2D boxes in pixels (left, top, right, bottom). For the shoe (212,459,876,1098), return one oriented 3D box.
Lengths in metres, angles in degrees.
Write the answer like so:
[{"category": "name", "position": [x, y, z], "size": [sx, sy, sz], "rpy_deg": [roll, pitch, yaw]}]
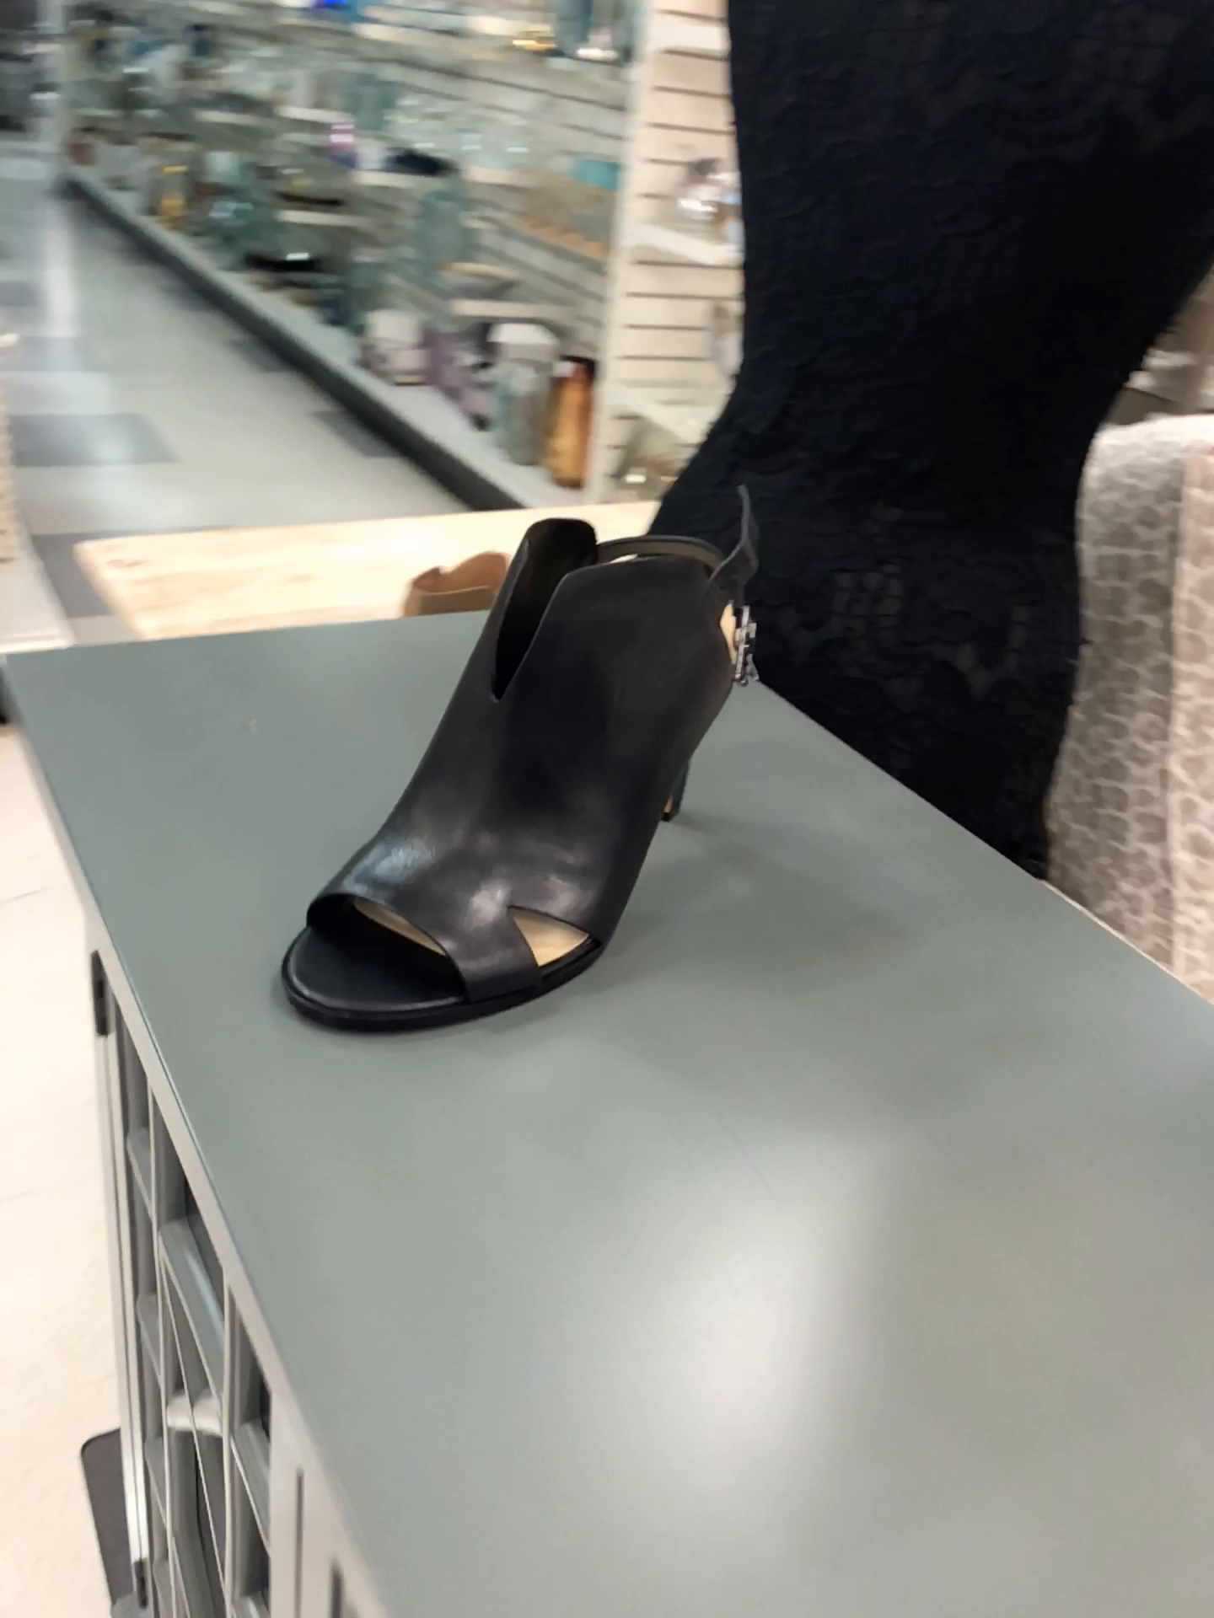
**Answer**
[{"category": "shoe", "position": [-0.015, -0.029, 0.497], "size": [0.092, 0.151, 0.240], "rpy_deg": [27, 34, 32]}]
